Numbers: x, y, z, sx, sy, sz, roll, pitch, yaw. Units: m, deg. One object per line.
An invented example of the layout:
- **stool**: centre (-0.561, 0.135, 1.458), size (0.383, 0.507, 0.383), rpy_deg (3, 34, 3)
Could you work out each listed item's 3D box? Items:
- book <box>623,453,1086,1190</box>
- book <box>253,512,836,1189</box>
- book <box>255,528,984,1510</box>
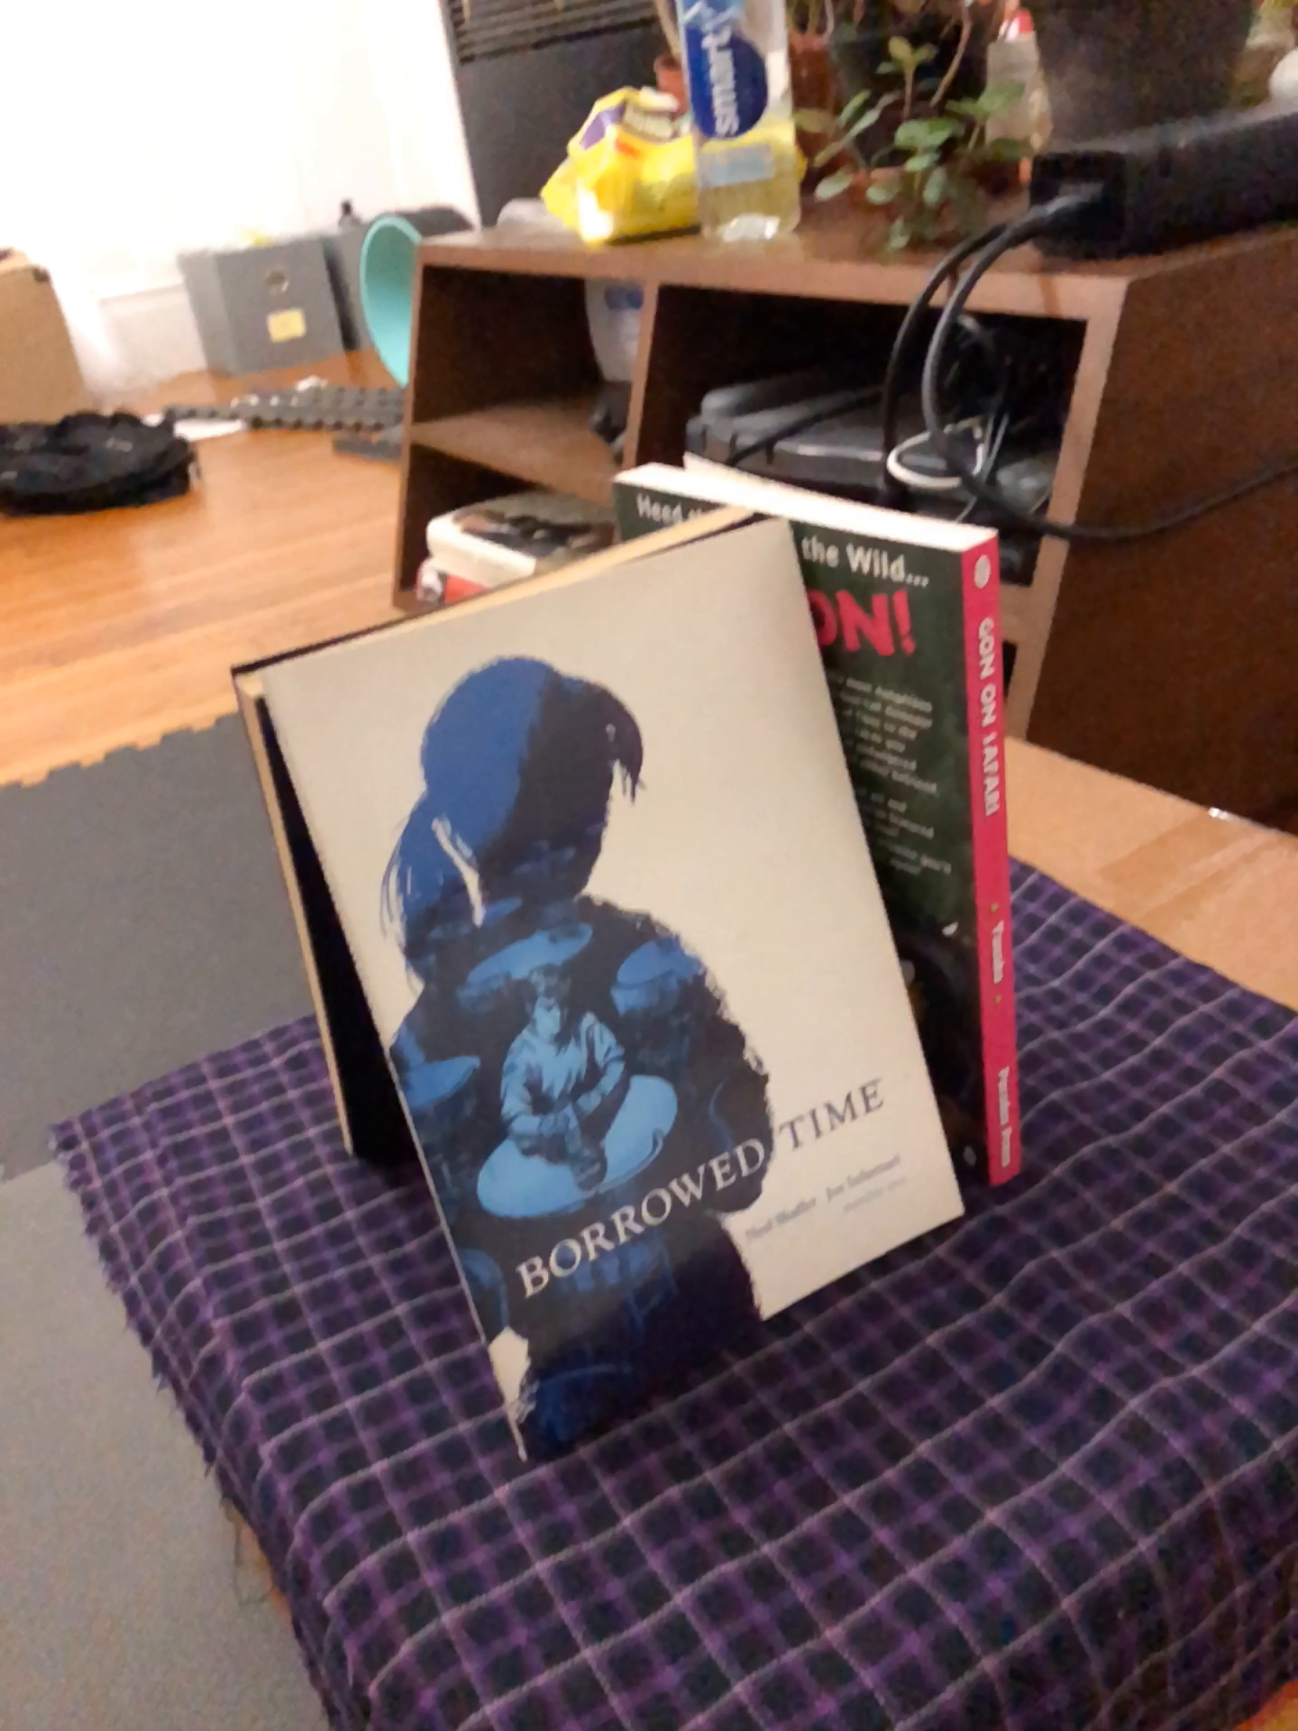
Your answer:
- **book**: centre (0.059, -0.015, 0.414), size (0.020, 0.189, 0.141), rpy_deg (-29, 35, -22)
- **book**: centre (-0.024, 0.006, 0.411), size (0.150, 0.199, 0.010), rpy_deg (-22, 52, -22)
- **book**: centre (0.004, 0.033, 0.349), size (0.140, 0.199, 0.010), rpy_deg (-21, 12, -25)
